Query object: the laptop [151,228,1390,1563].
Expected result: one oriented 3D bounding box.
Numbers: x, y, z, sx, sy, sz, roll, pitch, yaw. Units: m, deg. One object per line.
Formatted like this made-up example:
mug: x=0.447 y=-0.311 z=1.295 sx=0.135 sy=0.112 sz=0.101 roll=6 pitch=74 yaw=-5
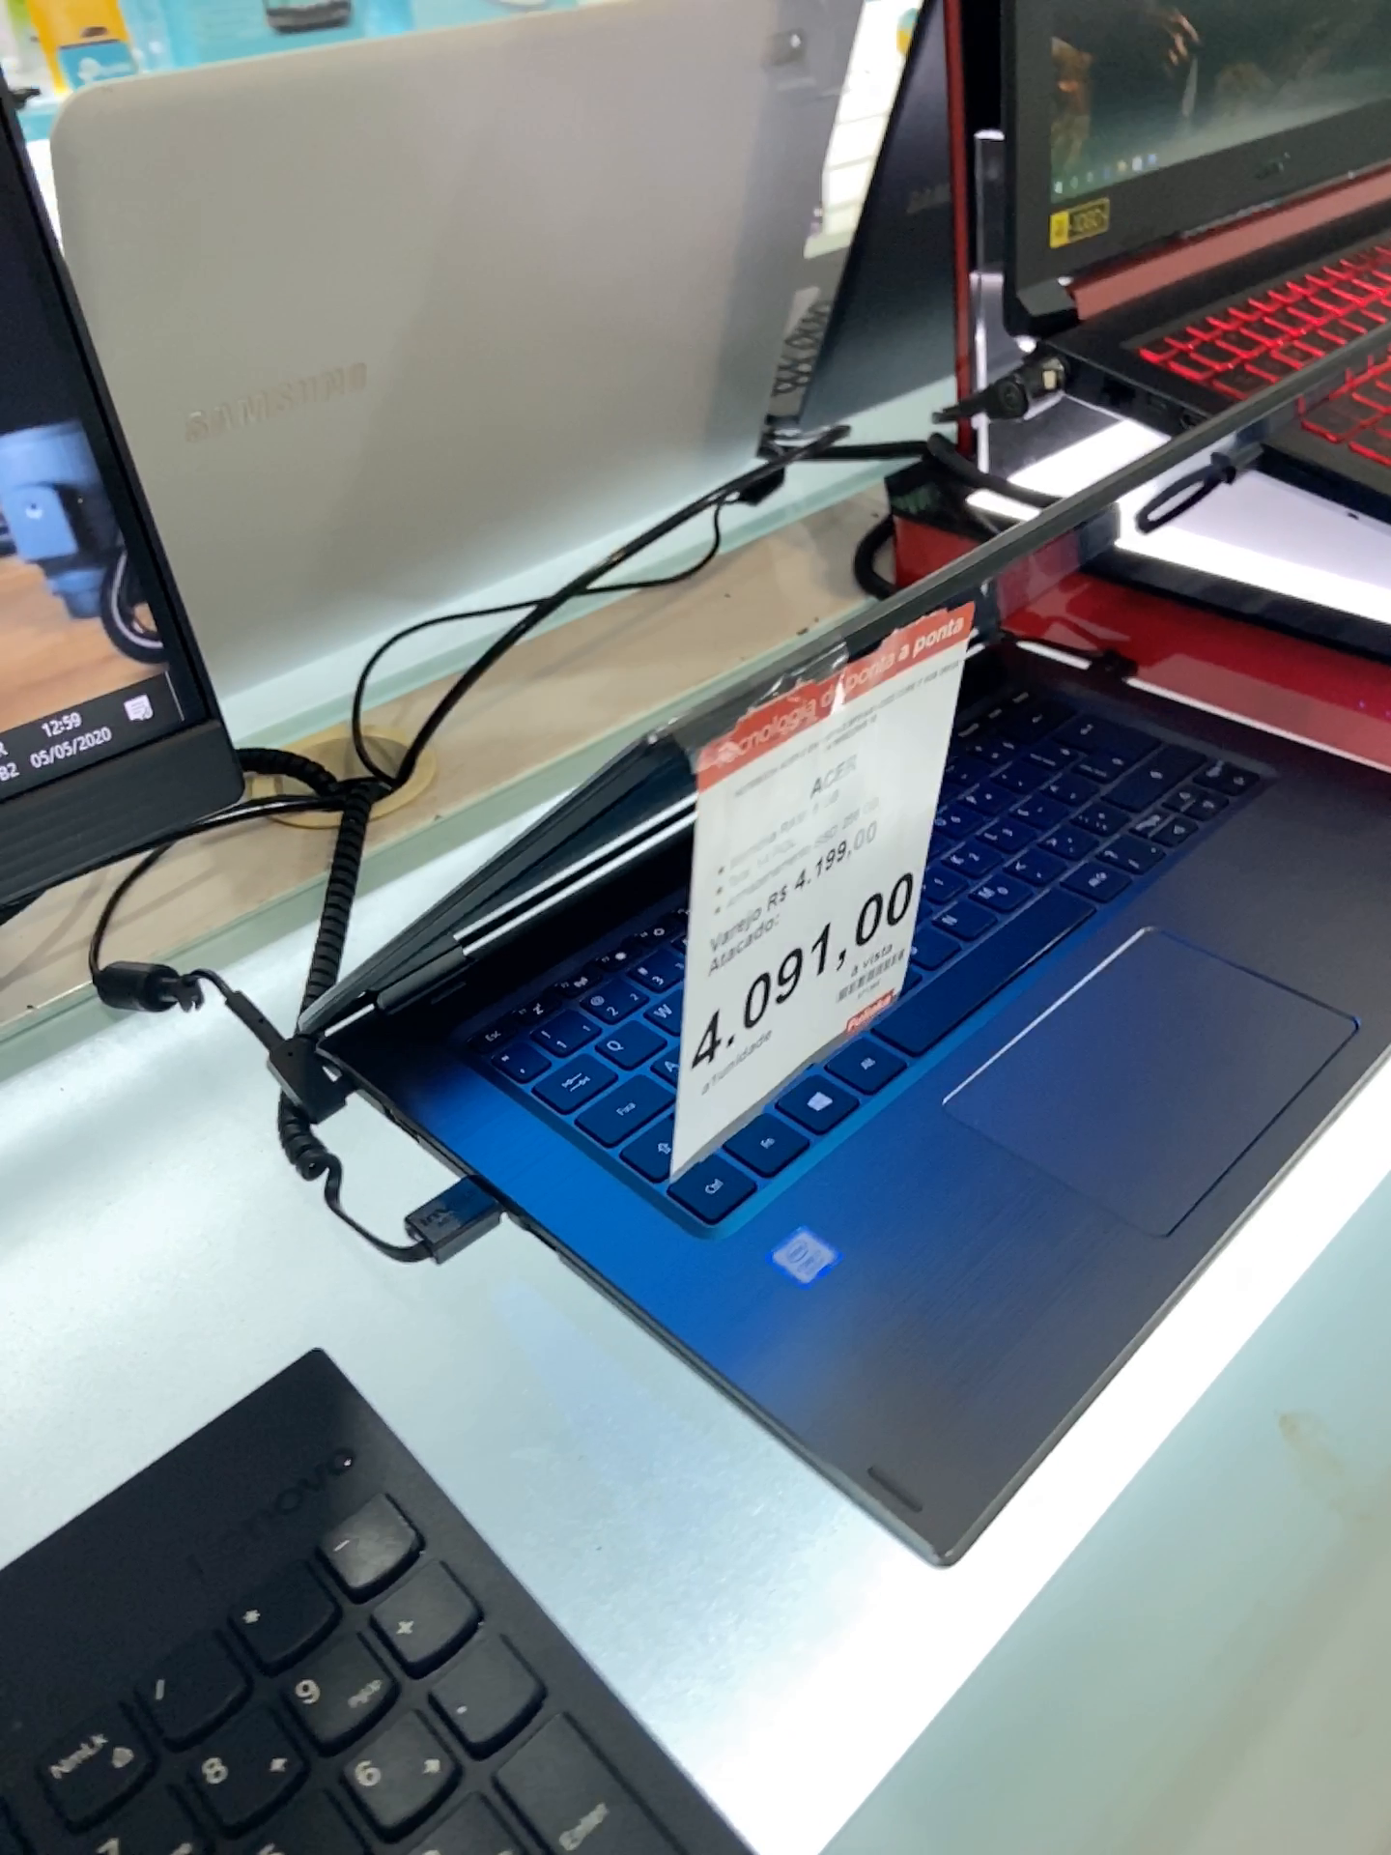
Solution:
laptop: x=0.080 y=-0.059 z=0.383 sx=0.219 sy=0.154 sz=0.329 roll=29 pitch=47 yaw=35
